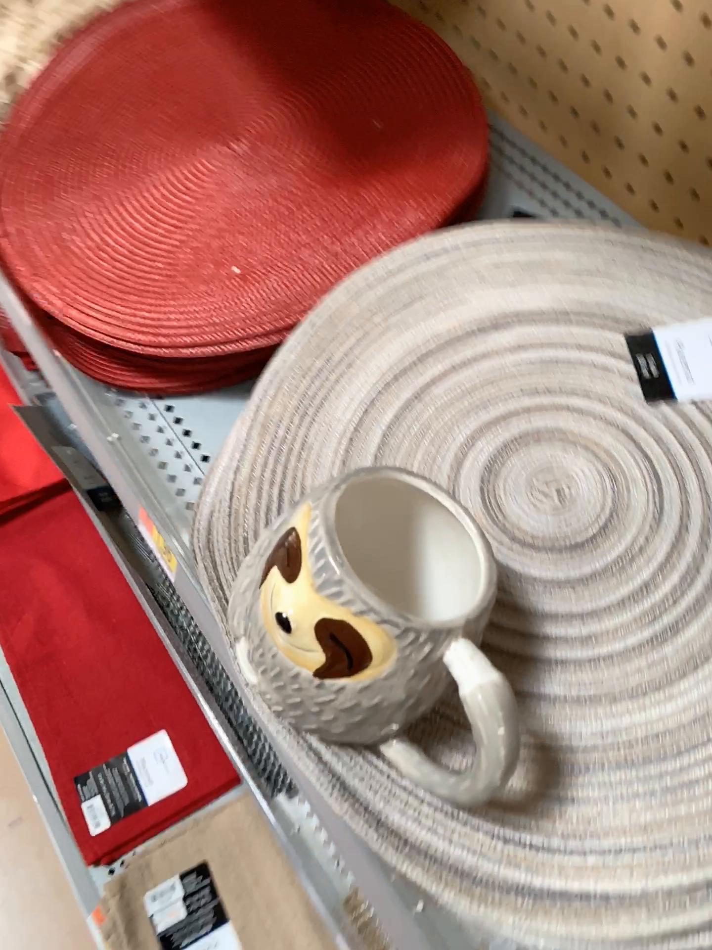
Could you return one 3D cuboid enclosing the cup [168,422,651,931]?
[{"bbox_3d":[0.014,0.073,0.304,0.106,0.089,0.150,-21,63,-39],"label":"cup"}]
